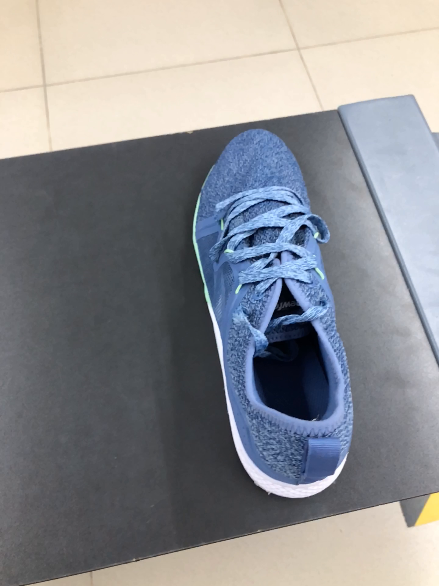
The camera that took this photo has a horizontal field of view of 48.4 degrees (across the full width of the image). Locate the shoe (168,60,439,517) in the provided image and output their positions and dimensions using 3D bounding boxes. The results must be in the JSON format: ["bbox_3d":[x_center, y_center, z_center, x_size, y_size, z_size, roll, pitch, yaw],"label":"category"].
[{"bbox_3d":[0.036,-0.015,0.321,0.100,0.080,0.281,-8,66,-5],"label":"shoe"}]
